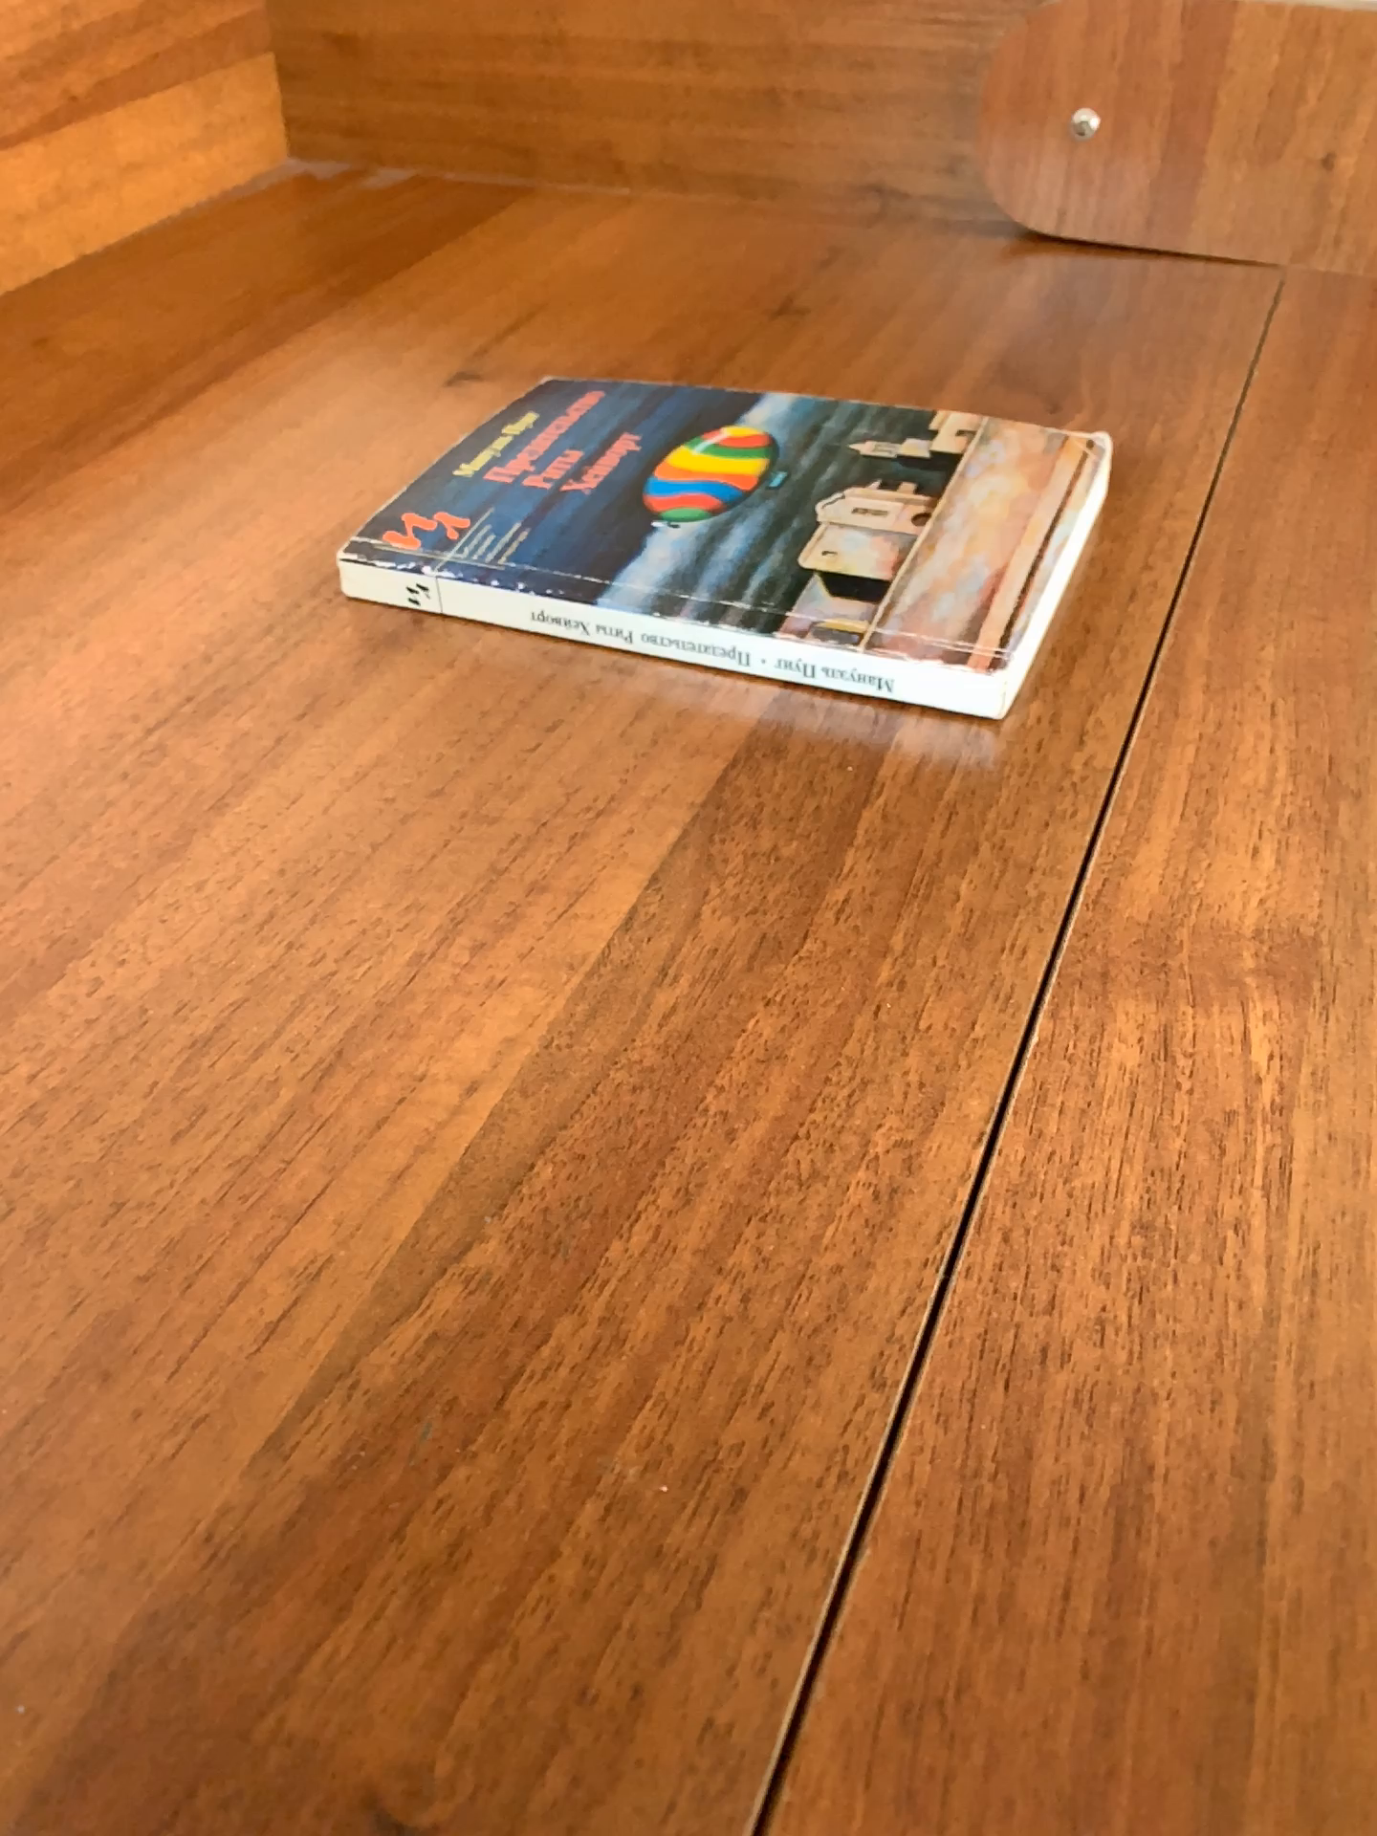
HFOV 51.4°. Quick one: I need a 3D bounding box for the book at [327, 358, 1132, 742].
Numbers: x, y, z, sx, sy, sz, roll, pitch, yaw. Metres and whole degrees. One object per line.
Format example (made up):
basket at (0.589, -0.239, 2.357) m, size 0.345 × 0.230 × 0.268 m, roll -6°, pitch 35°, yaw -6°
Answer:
book at (0.015, -0.096, 0.341) m, size 0.157 × 0.016 × 0.122 m, roll 14°, pitch 43°, yaw 17°
